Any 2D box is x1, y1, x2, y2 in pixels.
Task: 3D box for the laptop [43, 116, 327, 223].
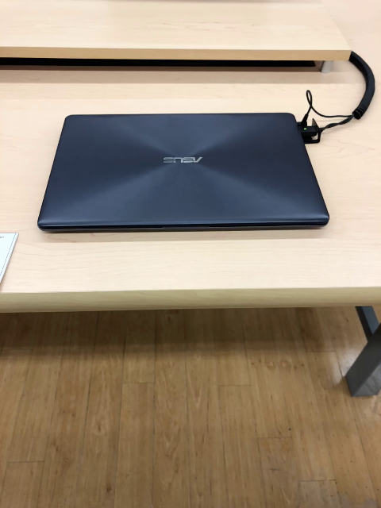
[{"bbox_3d":[-0.012,-0.128,0.586,0.345,0.002,0.229,-1,49,-2],"label":"laptop"}]
